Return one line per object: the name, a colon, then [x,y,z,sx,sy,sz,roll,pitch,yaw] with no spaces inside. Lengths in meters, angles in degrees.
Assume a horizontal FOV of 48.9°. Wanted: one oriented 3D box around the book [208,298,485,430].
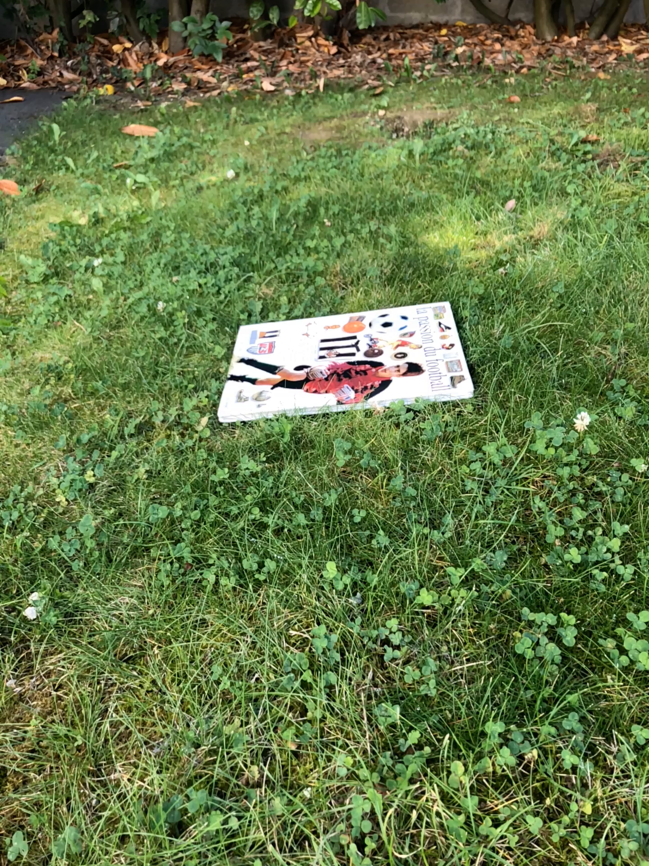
book: [0.026,-0.091,0.869,0.300,0.020,0.231,-5,35,6]
